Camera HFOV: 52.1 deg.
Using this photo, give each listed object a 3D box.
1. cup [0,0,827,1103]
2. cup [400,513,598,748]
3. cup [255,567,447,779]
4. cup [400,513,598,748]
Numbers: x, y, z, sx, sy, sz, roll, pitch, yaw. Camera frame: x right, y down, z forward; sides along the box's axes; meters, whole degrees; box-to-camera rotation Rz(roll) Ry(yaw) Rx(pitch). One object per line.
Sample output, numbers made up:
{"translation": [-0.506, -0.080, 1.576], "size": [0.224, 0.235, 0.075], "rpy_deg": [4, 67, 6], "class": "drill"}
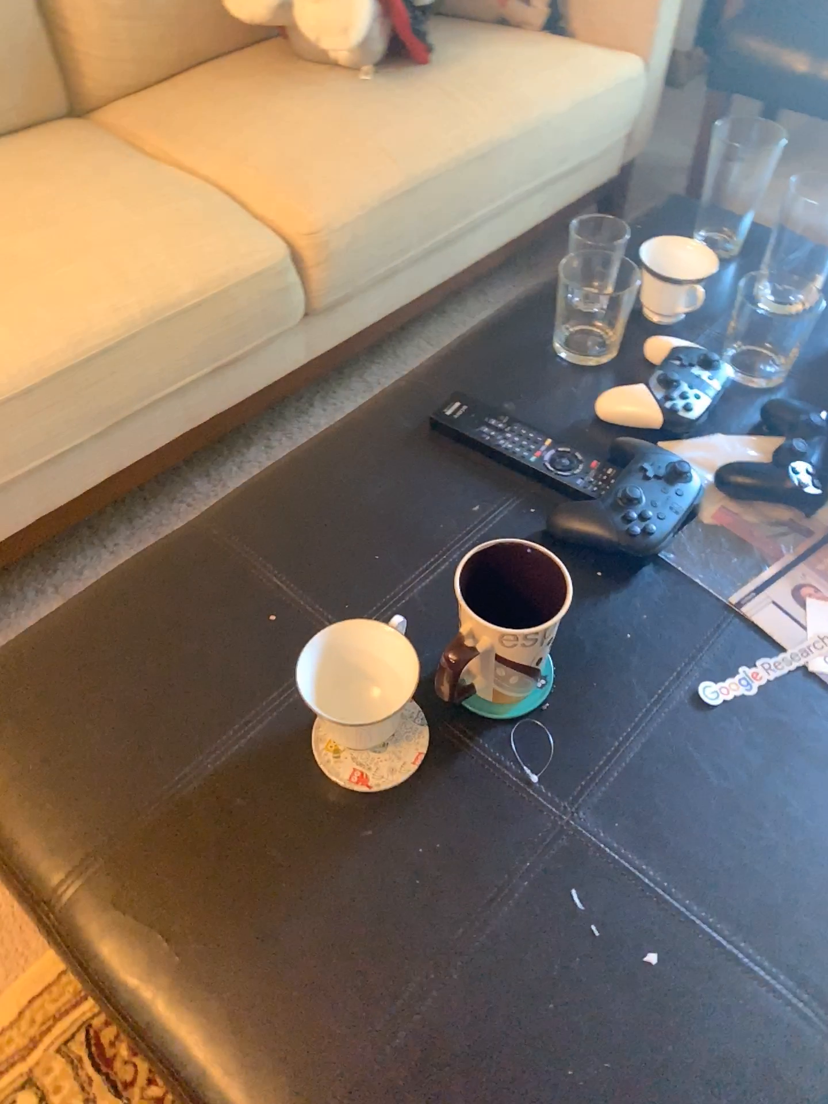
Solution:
{"translation": [0.061, 0.059, 0.644], "size": [39.308, 9.455, 0.298], "rpy_deg": [-37, 60, -27], "class": "cup"}
{"translation": [0.061, 0.059, 0.644], "size": [0.120, 0.109, 0.080], "rpy_deg": [-37, 60, -27], "class": "cup"}
{"translation": [-0.045, 0.089, 0.637], "size": [0.090, 0.070, 0.110], "rpy_deg": [28, 55, 20], "class": "cup"}
{"translation": [0.061, 0.059, 0.644], "size": [0.120, 0.109, 0.080], "rpy_deg": [-37, 60, -27], "class": "cup"}
